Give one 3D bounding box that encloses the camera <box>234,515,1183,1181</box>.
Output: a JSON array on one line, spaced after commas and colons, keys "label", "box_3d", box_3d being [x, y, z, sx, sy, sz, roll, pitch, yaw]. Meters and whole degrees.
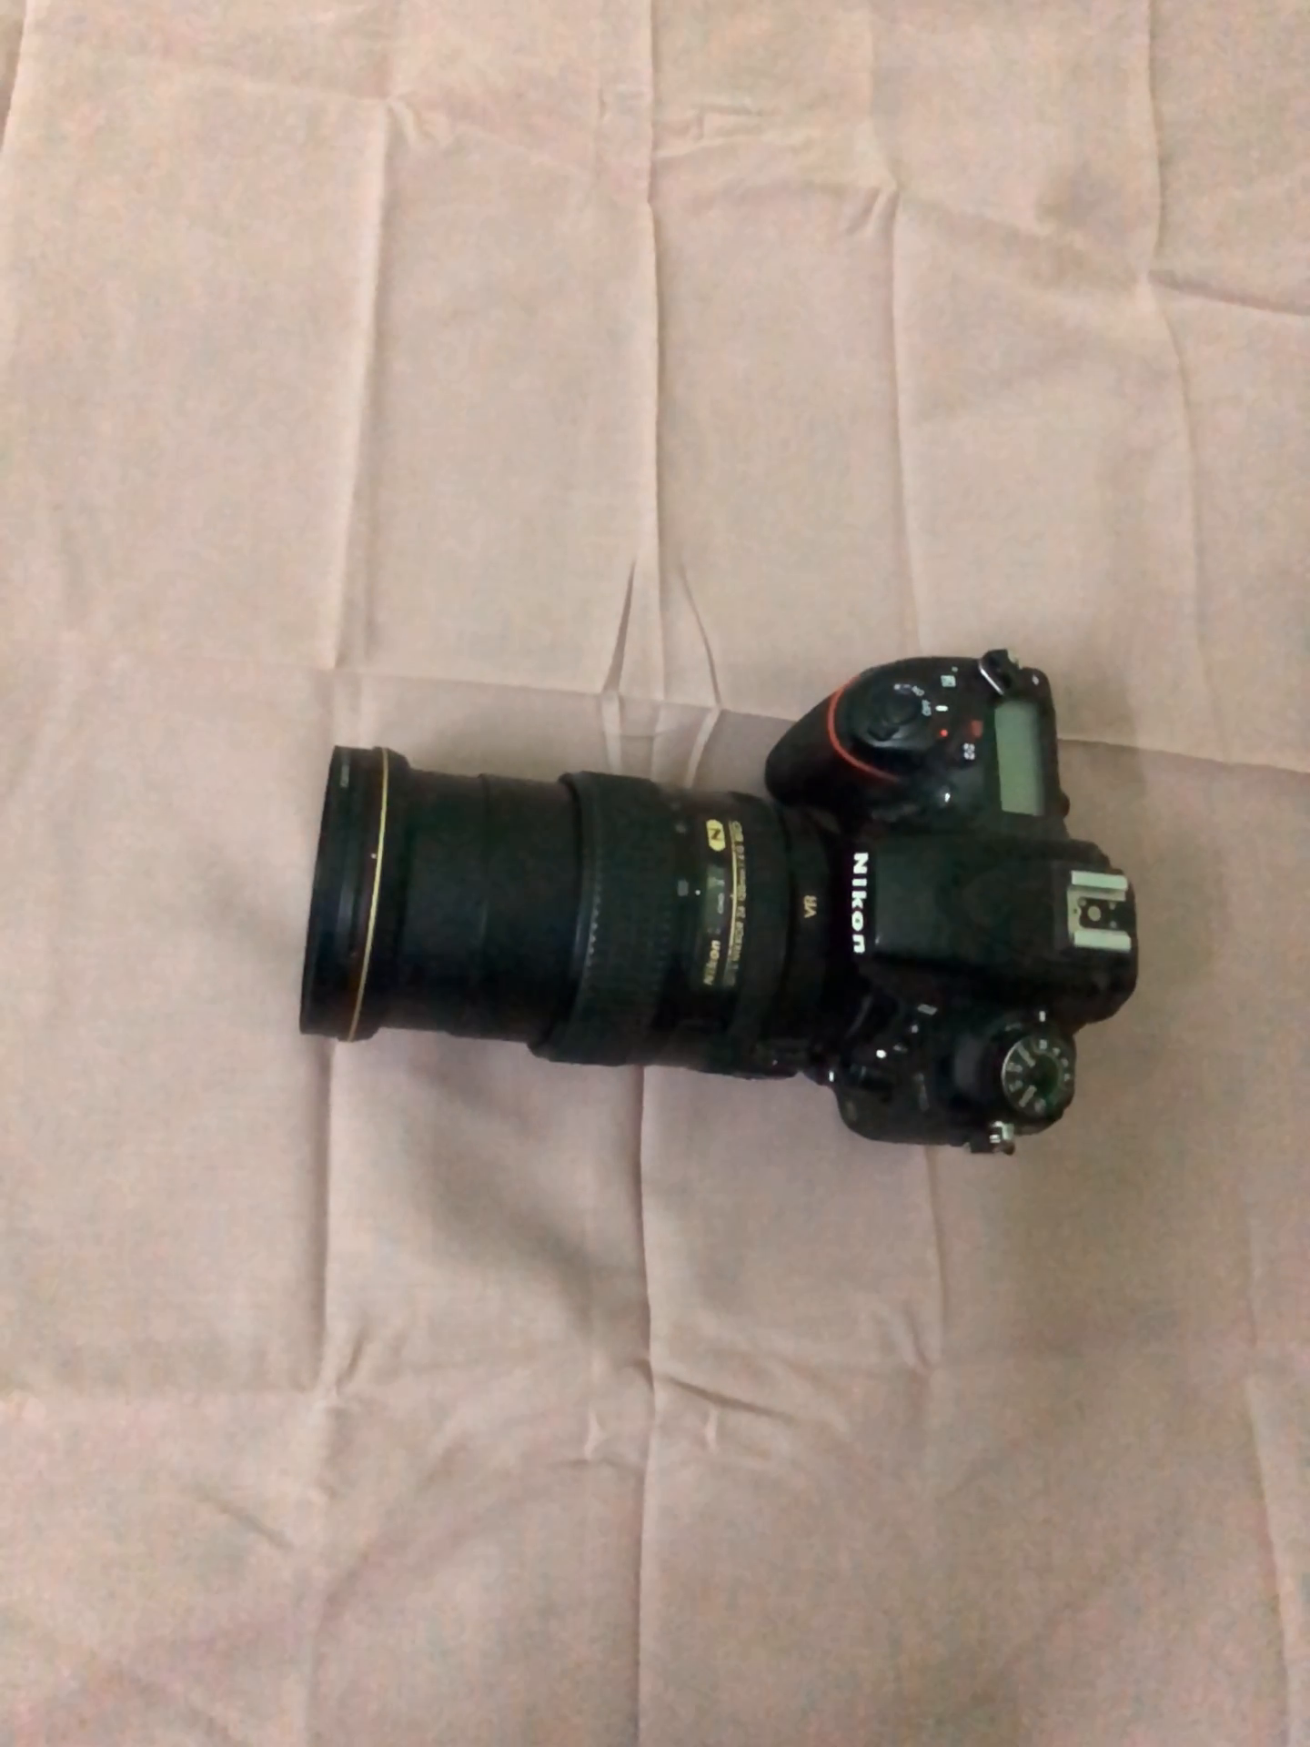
[{"label": "camera", "box_3d": [0.010, 0.008, 0.406, 0.232, 0.110, 0.139, 6, 74, -16]}]
